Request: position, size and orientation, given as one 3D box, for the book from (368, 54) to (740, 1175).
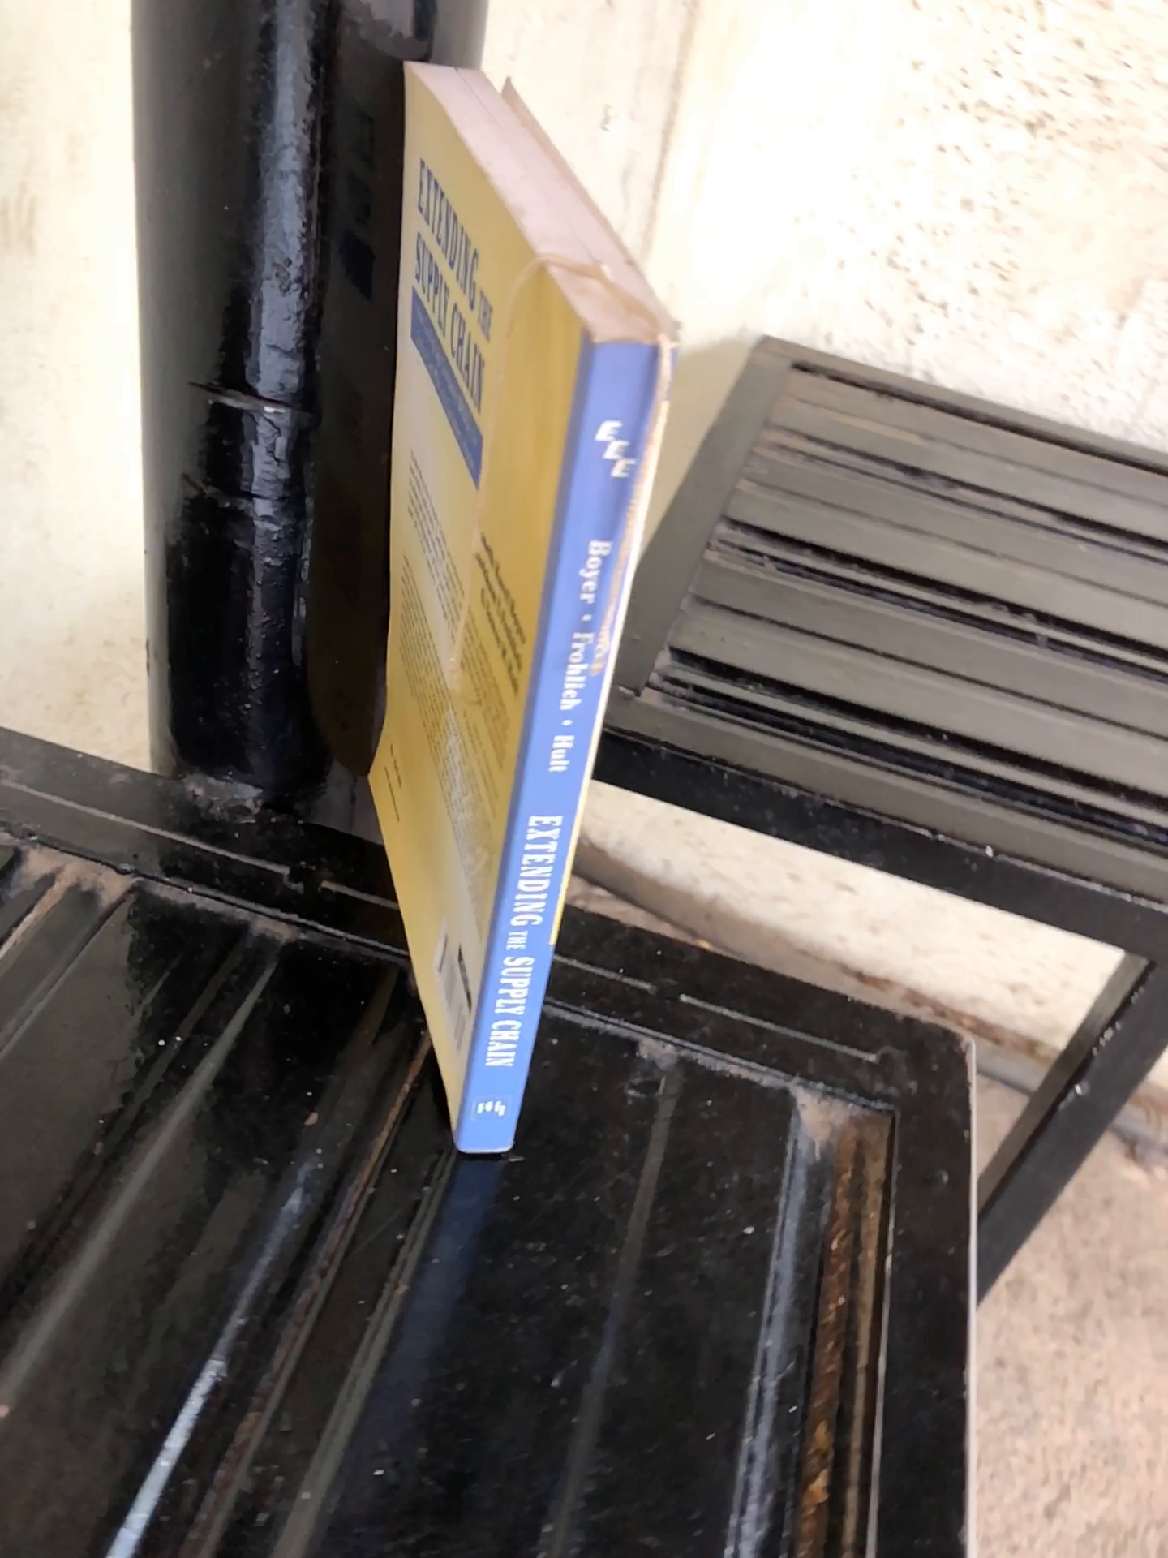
[{"bbox_3d":[-0.025,-0.034,0.324,0.030,0.229,0.151,-4,41,-16],"label":"book"}]
